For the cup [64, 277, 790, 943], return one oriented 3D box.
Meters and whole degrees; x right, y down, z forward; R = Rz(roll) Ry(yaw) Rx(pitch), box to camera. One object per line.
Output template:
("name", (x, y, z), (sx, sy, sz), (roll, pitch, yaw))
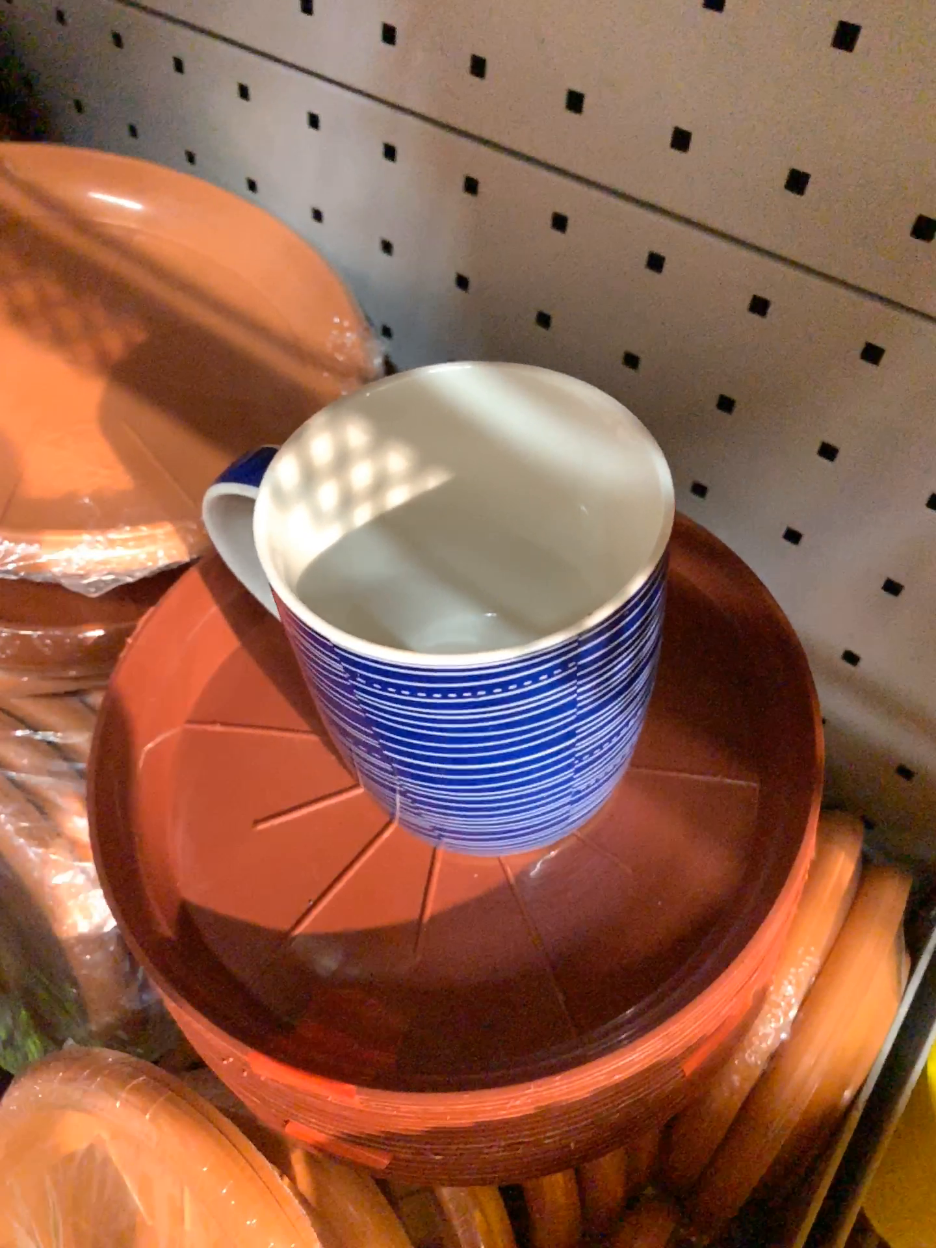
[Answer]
("cup", (-0.004, -0.007, 0.253), (0.130, 0.100, 0.100), (18, 52, 17))
